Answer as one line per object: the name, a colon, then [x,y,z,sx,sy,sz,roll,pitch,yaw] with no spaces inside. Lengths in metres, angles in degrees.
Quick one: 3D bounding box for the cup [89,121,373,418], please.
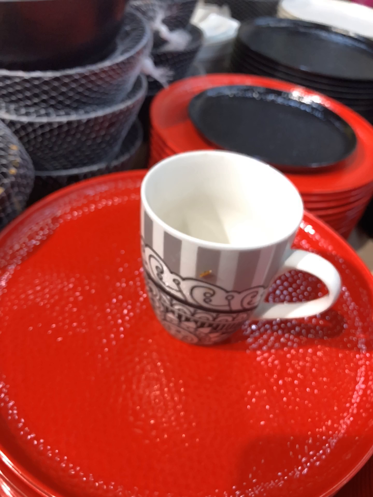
cup: [0.021,0.007,0.238,0.120,0.099,0.081,25,44,17]
